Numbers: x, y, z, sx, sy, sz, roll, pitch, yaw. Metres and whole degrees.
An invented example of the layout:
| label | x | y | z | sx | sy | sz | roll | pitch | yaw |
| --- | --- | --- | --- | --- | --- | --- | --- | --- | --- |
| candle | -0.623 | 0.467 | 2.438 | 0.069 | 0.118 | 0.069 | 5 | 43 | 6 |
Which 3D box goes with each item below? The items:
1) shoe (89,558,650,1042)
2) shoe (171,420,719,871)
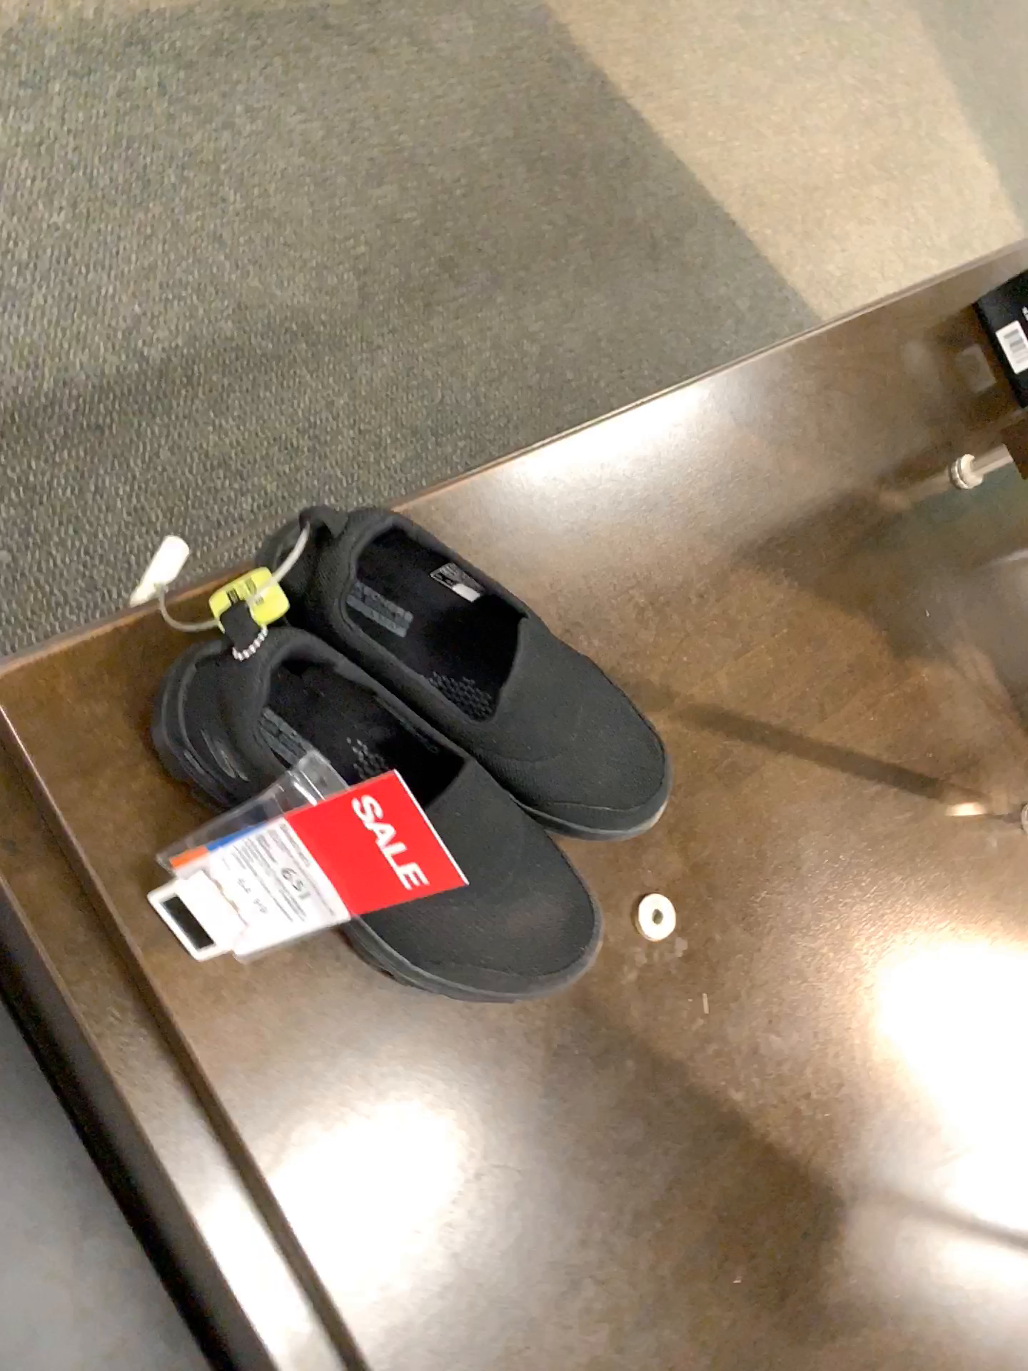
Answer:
| label | x | y | z | sx | sy | sz | roll | pitch | yaw |
| --- | --- | --- | --- | --- | --- | --- | --- | --- | --- |
| shoe | -0.067 | 0.063 | 0.505 | 0.230 | 0.110 | 0.094 | 40 | 62 | -17 |
| shoe | -0.032 | -0.006 | 0.544 | 0.244 | 0.110 | 0.094 | 34 | 64 | -19 |
